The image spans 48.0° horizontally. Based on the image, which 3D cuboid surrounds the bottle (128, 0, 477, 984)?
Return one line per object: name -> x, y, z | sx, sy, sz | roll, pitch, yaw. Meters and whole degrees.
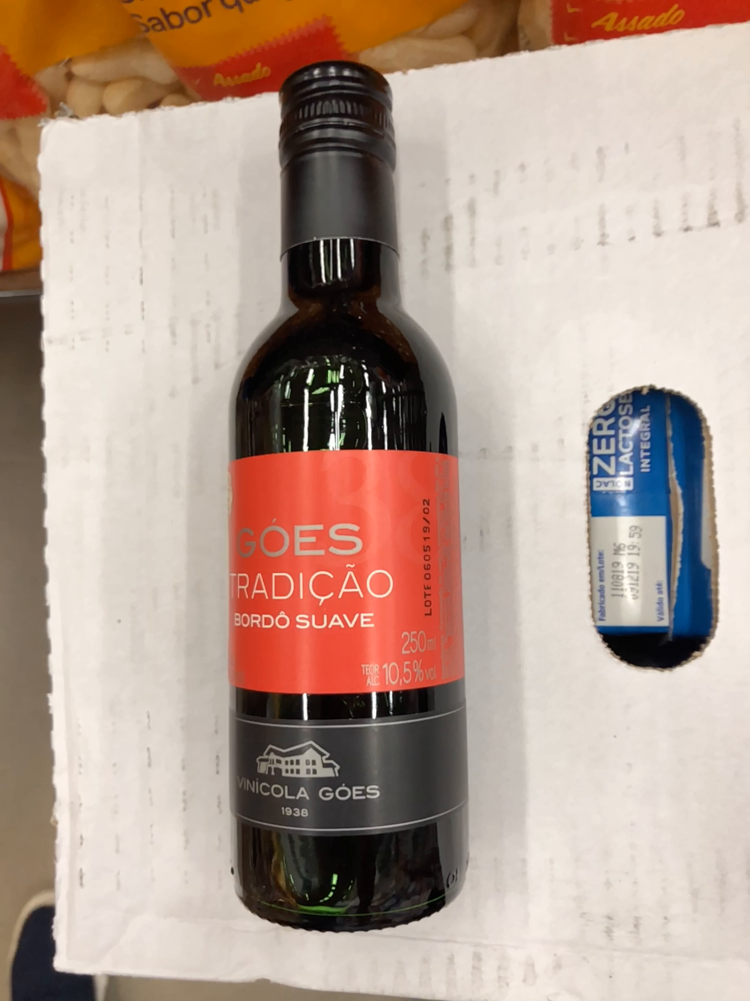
bottle -> -0.014, -0.014, 0.191 | 0.060, 0.050, 0.210 | -3, 86, 13
